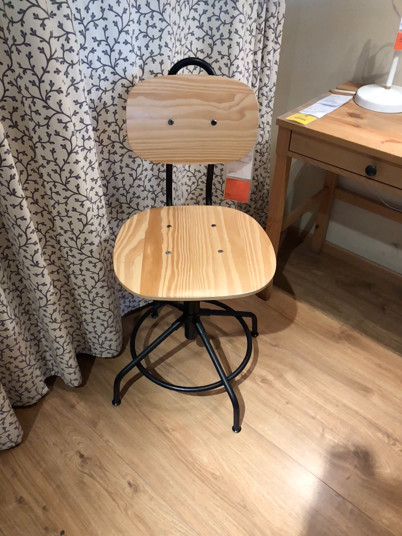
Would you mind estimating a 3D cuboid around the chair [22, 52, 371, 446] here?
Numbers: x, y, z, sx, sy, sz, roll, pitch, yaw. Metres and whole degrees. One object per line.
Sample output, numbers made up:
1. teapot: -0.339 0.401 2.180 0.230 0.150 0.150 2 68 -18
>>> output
1. chair: -0.023 -0.034 1.126 0.520 0.815 0.554 -3 40 -3
